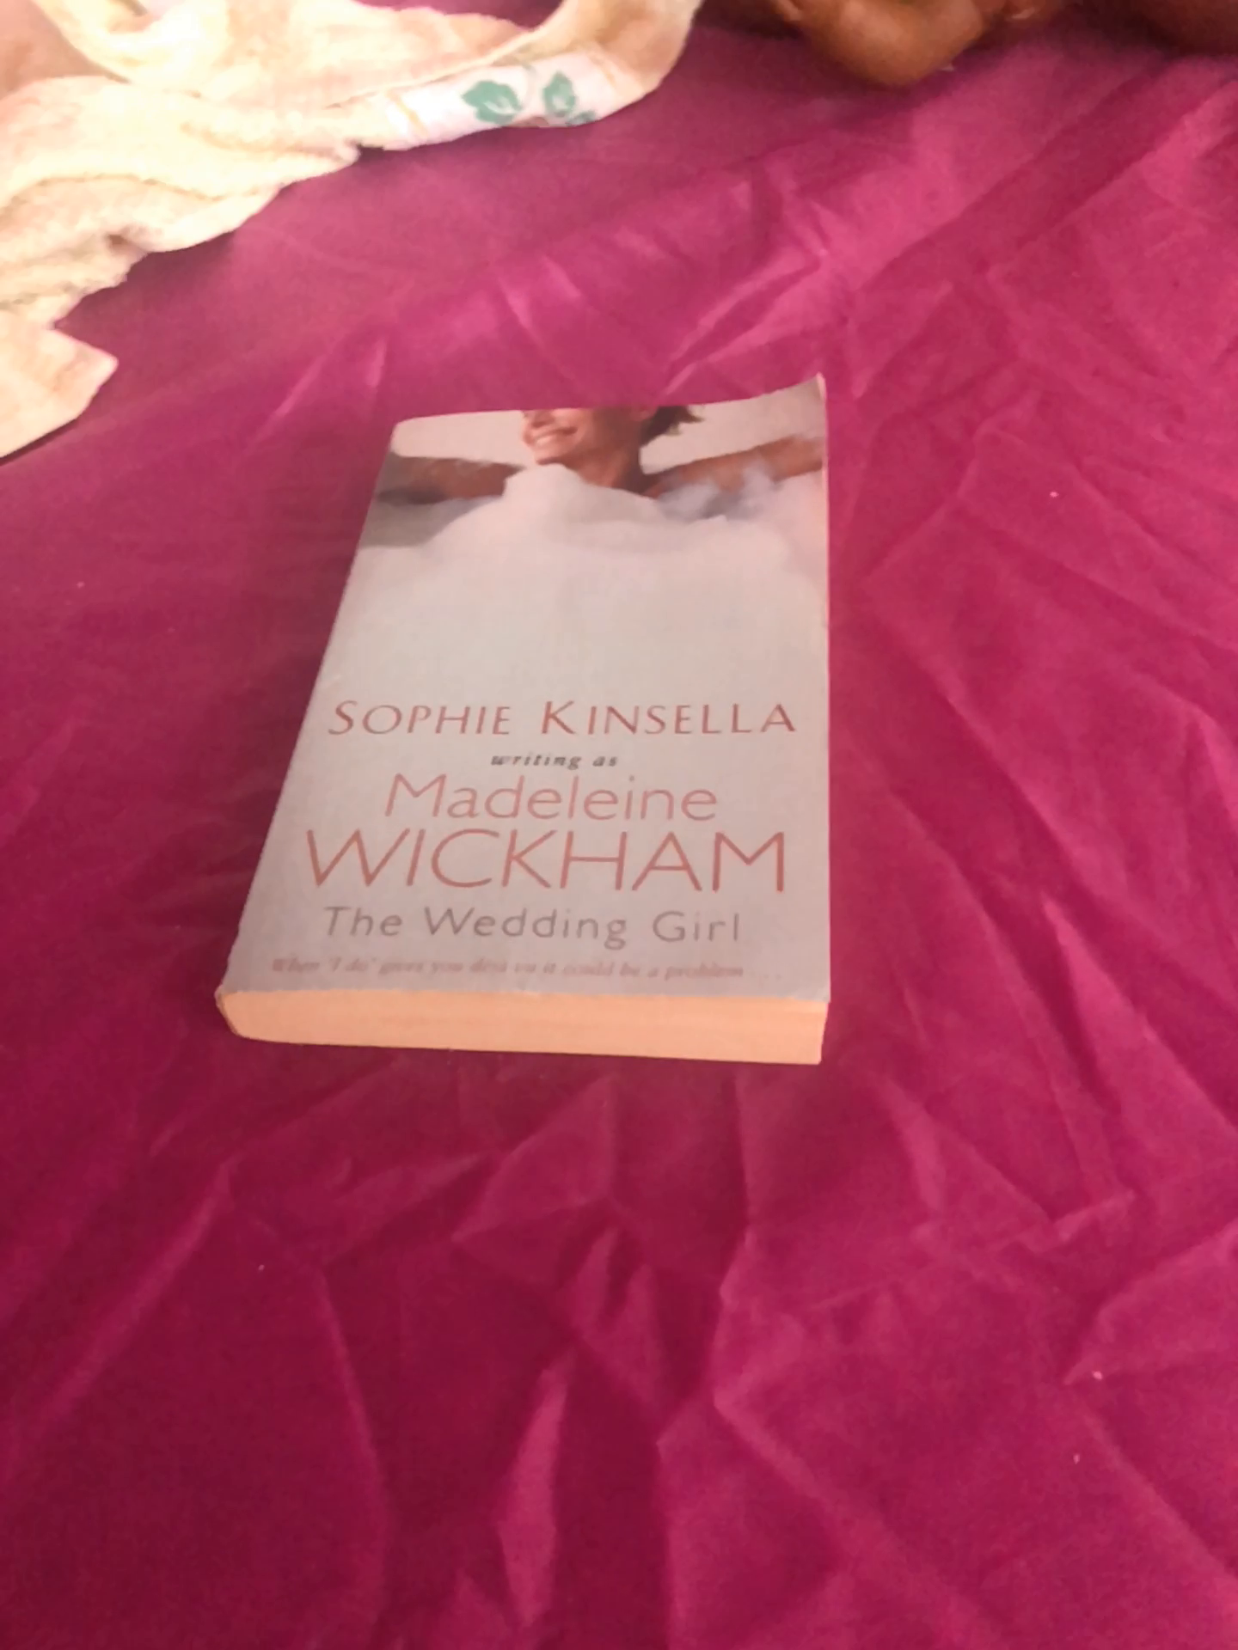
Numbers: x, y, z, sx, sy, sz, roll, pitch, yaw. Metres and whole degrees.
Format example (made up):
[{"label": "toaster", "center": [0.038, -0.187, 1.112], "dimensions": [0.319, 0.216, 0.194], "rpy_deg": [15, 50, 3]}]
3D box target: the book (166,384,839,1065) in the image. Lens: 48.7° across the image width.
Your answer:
[{"label": "book", "center": [-0.014, -0.039, 0.343], "dimensions": [0.135, 0.027, 0.202], "rpy_deg": [1, 51, 8]}]
